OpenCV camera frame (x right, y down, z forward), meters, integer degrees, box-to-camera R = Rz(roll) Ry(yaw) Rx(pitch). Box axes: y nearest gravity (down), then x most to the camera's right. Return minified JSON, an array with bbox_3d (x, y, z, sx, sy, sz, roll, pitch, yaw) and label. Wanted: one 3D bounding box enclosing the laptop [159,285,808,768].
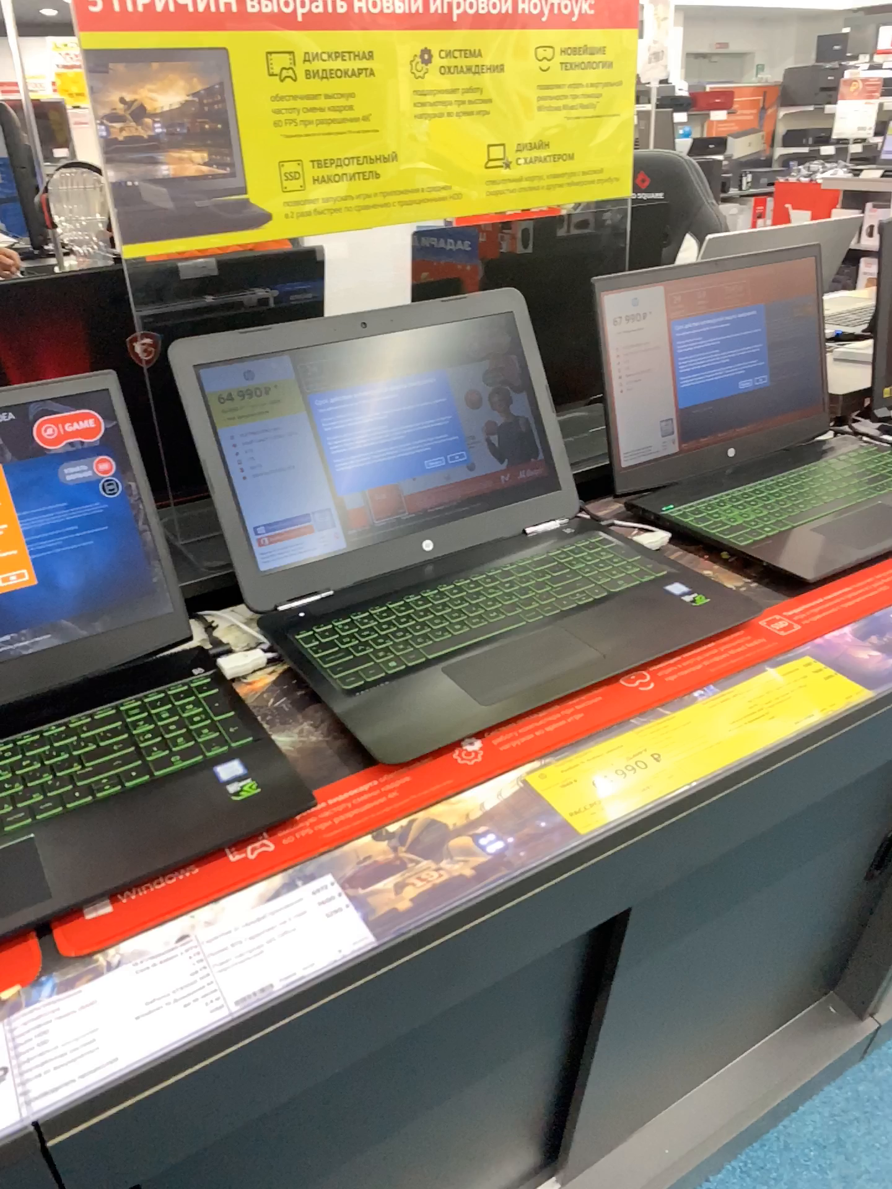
[{"bbox_3d":[0.017,-0.108,0.797,0.385,0.223,0.380,-18,32,-28],"label":"laptop"}]
